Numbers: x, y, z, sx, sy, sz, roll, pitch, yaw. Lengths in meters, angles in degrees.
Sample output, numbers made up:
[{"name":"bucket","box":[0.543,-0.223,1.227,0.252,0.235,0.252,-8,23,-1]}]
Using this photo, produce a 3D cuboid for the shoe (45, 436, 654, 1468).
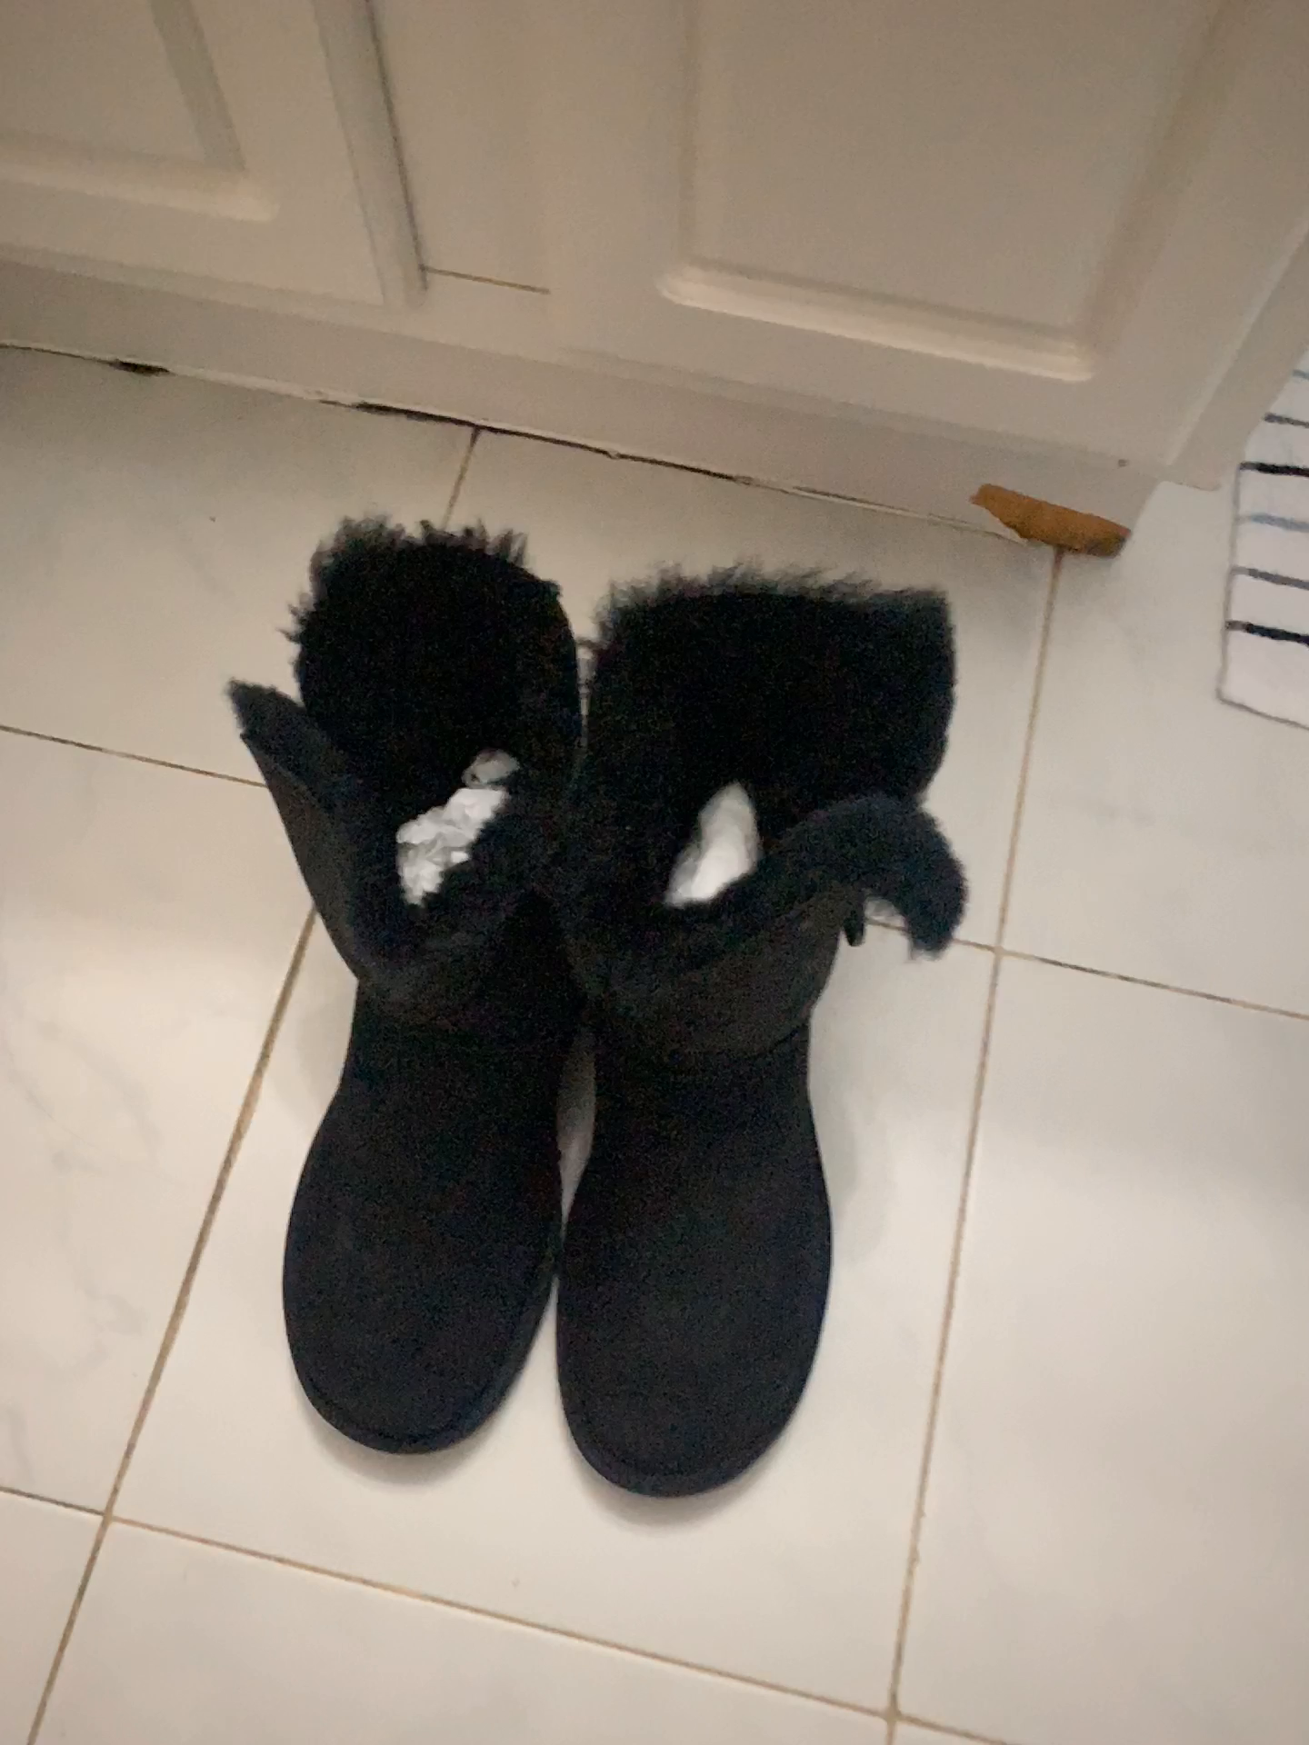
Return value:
[{"name":"shoe","box":[-0.076,0.031,0.454,0.120,0.170,0.290,6,70,1]}]

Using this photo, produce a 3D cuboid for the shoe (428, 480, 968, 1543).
[{"name":"shoe","box":[0.020,0.050,0.449,0.110,0.190,0.280,8,70,2]}]
